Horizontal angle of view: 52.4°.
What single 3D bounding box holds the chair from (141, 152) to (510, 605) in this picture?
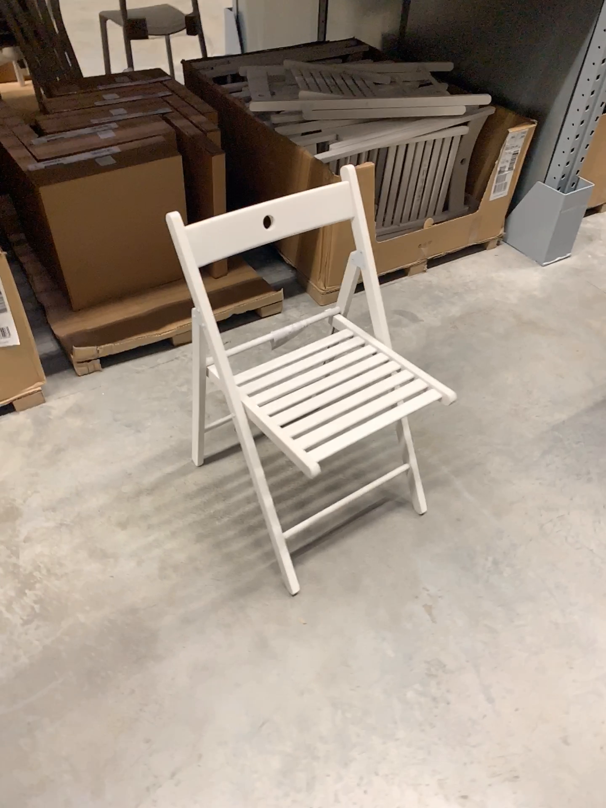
[{"bbox_3d":[0.010,-0.045,1.285,0.431,0.707,0.471,-24,51,-25],"label":"chair"}]
